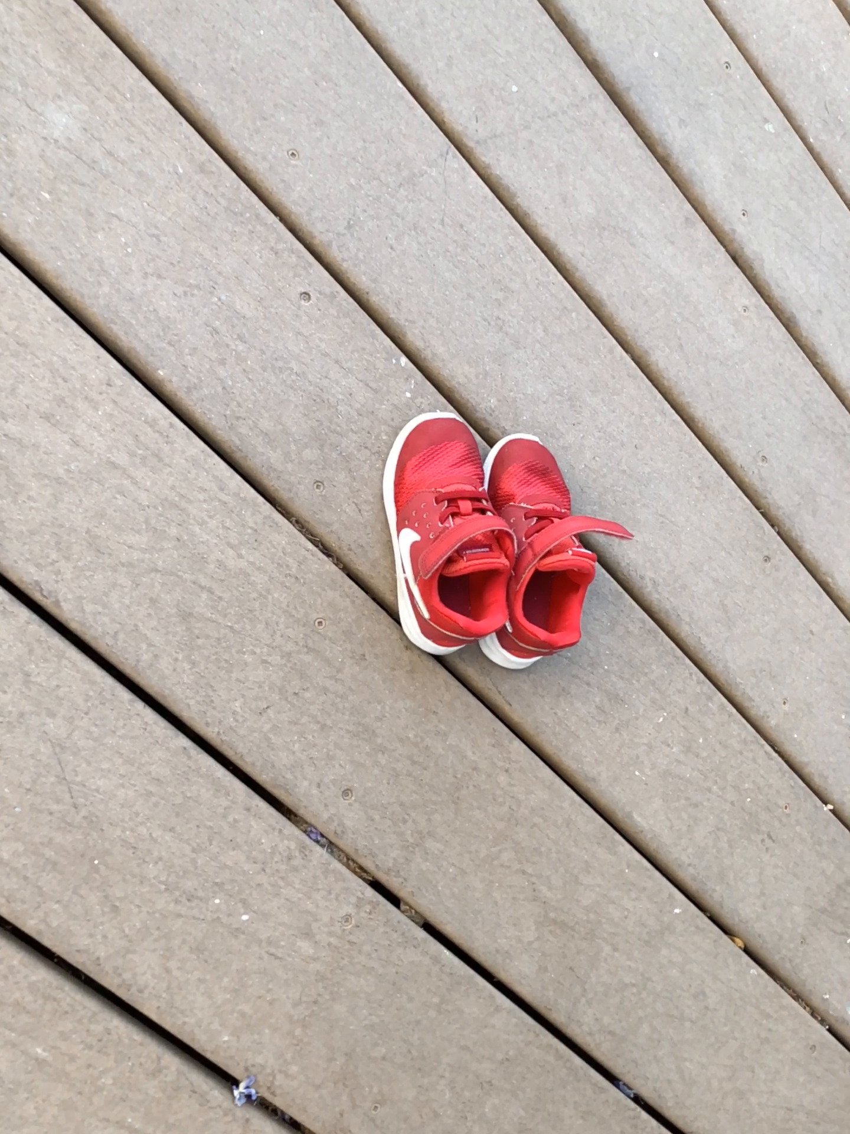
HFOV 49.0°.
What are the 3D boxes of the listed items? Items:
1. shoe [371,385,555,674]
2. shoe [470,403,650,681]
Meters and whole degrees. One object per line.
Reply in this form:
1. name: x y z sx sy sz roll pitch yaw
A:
1. shoe: 0.022 -0.021 0.594 0.077 0.087 0.167 -2 88 -27
2. shoe: 0.088 -0.012 0.619 0.077 0.087 0.167 5 85 -27
